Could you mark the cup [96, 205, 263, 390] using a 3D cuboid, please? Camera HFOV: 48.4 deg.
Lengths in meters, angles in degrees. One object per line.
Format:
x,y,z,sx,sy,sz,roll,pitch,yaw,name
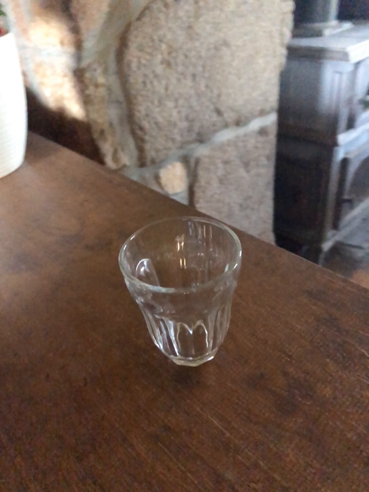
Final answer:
0.004,0.029,0.254,0.080,0.080,0.070,4,36,14,cup
